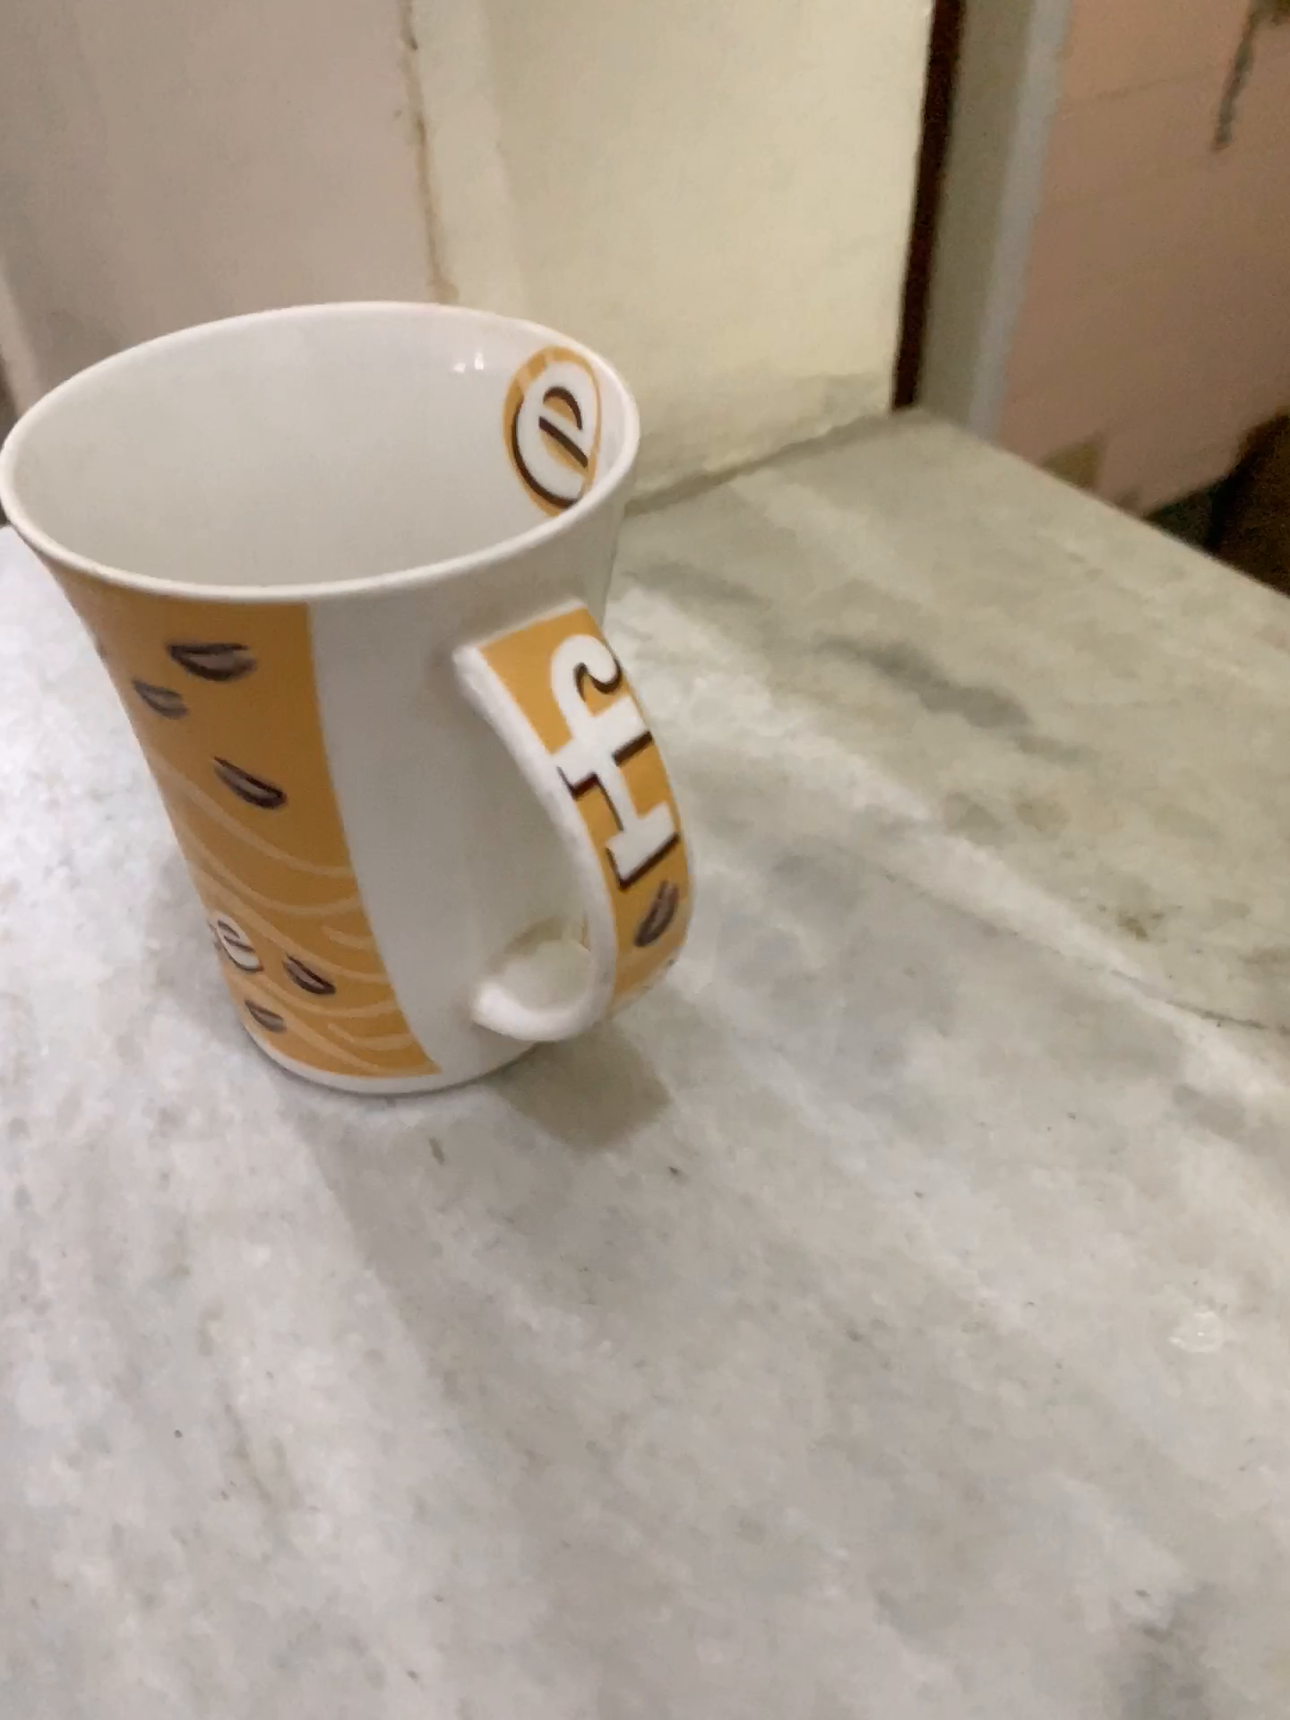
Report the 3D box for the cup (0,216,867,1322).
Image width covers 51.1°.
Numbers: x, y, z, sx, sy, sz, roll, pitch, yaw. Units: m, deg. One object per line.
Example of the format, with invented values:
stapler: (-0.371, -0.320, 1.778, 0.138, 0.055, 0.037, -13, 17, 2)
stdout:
cup: (-0.038, -0.019, 0.193, 0.080, 0.100, 0.100, -32, 51, -30)
